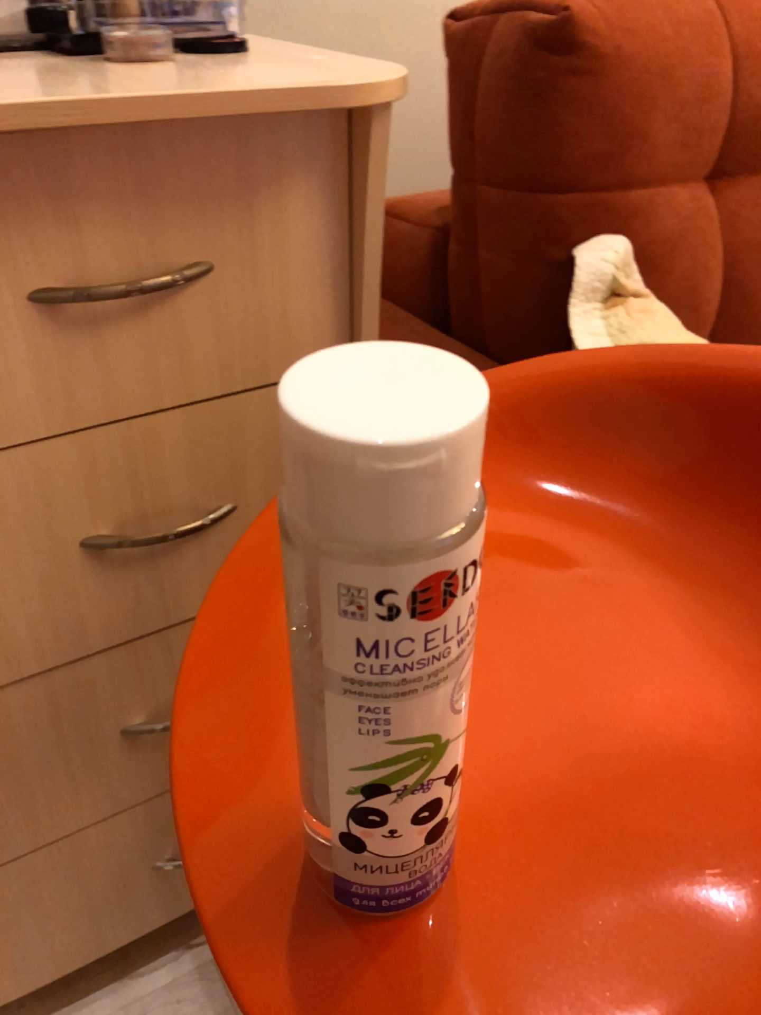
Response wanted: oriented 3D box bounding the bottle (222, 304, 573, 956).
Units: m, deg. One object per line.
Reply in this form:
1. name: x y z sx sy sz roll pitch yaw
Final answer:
1. bottle: 0.001 0.039 0.225 0.054 0.166 0.052 1 35 -1
